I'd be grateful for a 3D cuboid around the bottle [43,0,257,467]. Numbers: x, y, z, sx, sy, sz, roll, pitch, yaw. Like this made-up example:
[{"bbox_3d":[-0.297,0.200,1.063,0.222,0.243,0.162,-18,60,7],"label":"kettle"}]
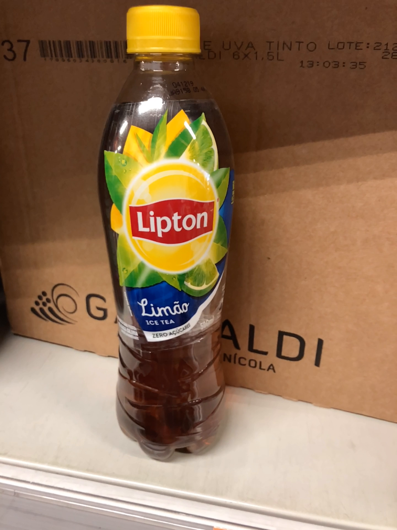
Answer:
[{"bbox_3d":[-0.018,-0.005,0.221,0.070,0.218,0.060,-3,26,-6],"label":"bottle"}]
